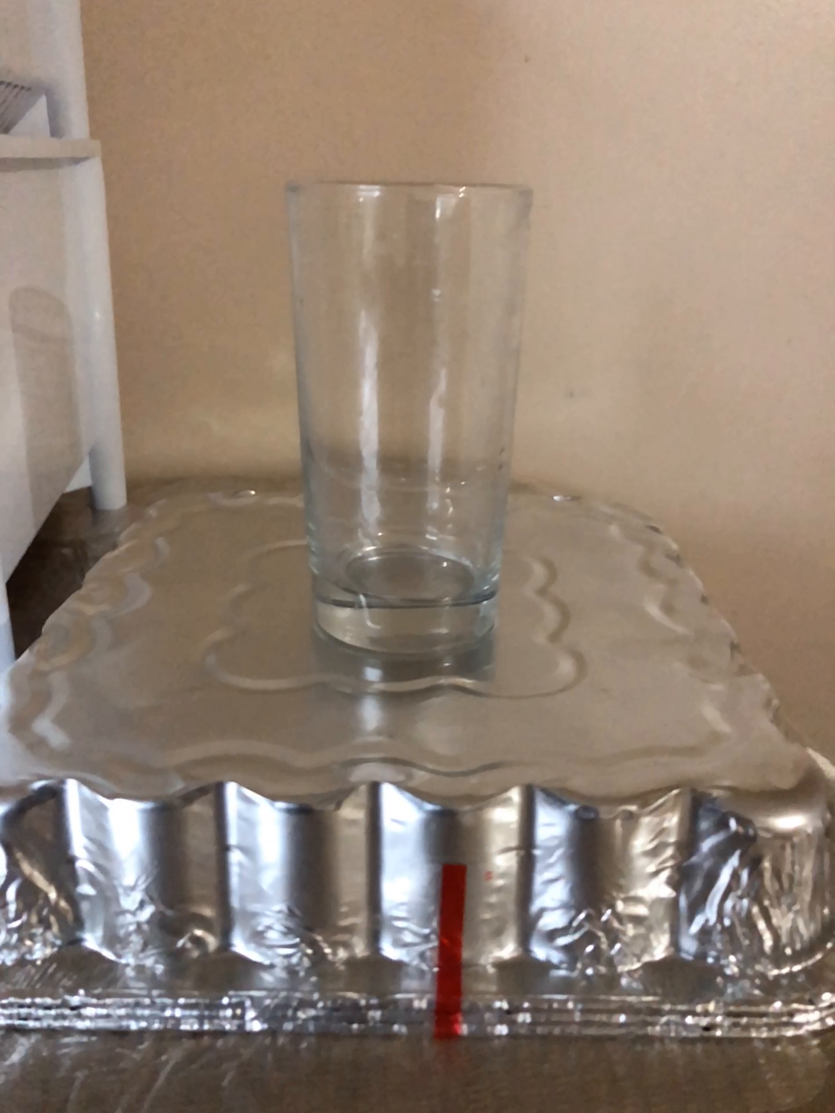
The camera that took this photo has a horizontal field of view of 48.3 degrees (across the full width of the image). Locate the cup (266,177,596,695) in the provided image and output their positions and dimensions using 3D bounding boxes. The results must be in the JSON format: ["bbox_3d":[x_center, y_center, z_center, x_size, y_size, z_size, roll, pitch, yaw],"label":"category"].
[{"bbox_3d":[-0.001,-0.035,0.249,0.060,0.119,0.060,2,22,-1],"label":"cup"}]
